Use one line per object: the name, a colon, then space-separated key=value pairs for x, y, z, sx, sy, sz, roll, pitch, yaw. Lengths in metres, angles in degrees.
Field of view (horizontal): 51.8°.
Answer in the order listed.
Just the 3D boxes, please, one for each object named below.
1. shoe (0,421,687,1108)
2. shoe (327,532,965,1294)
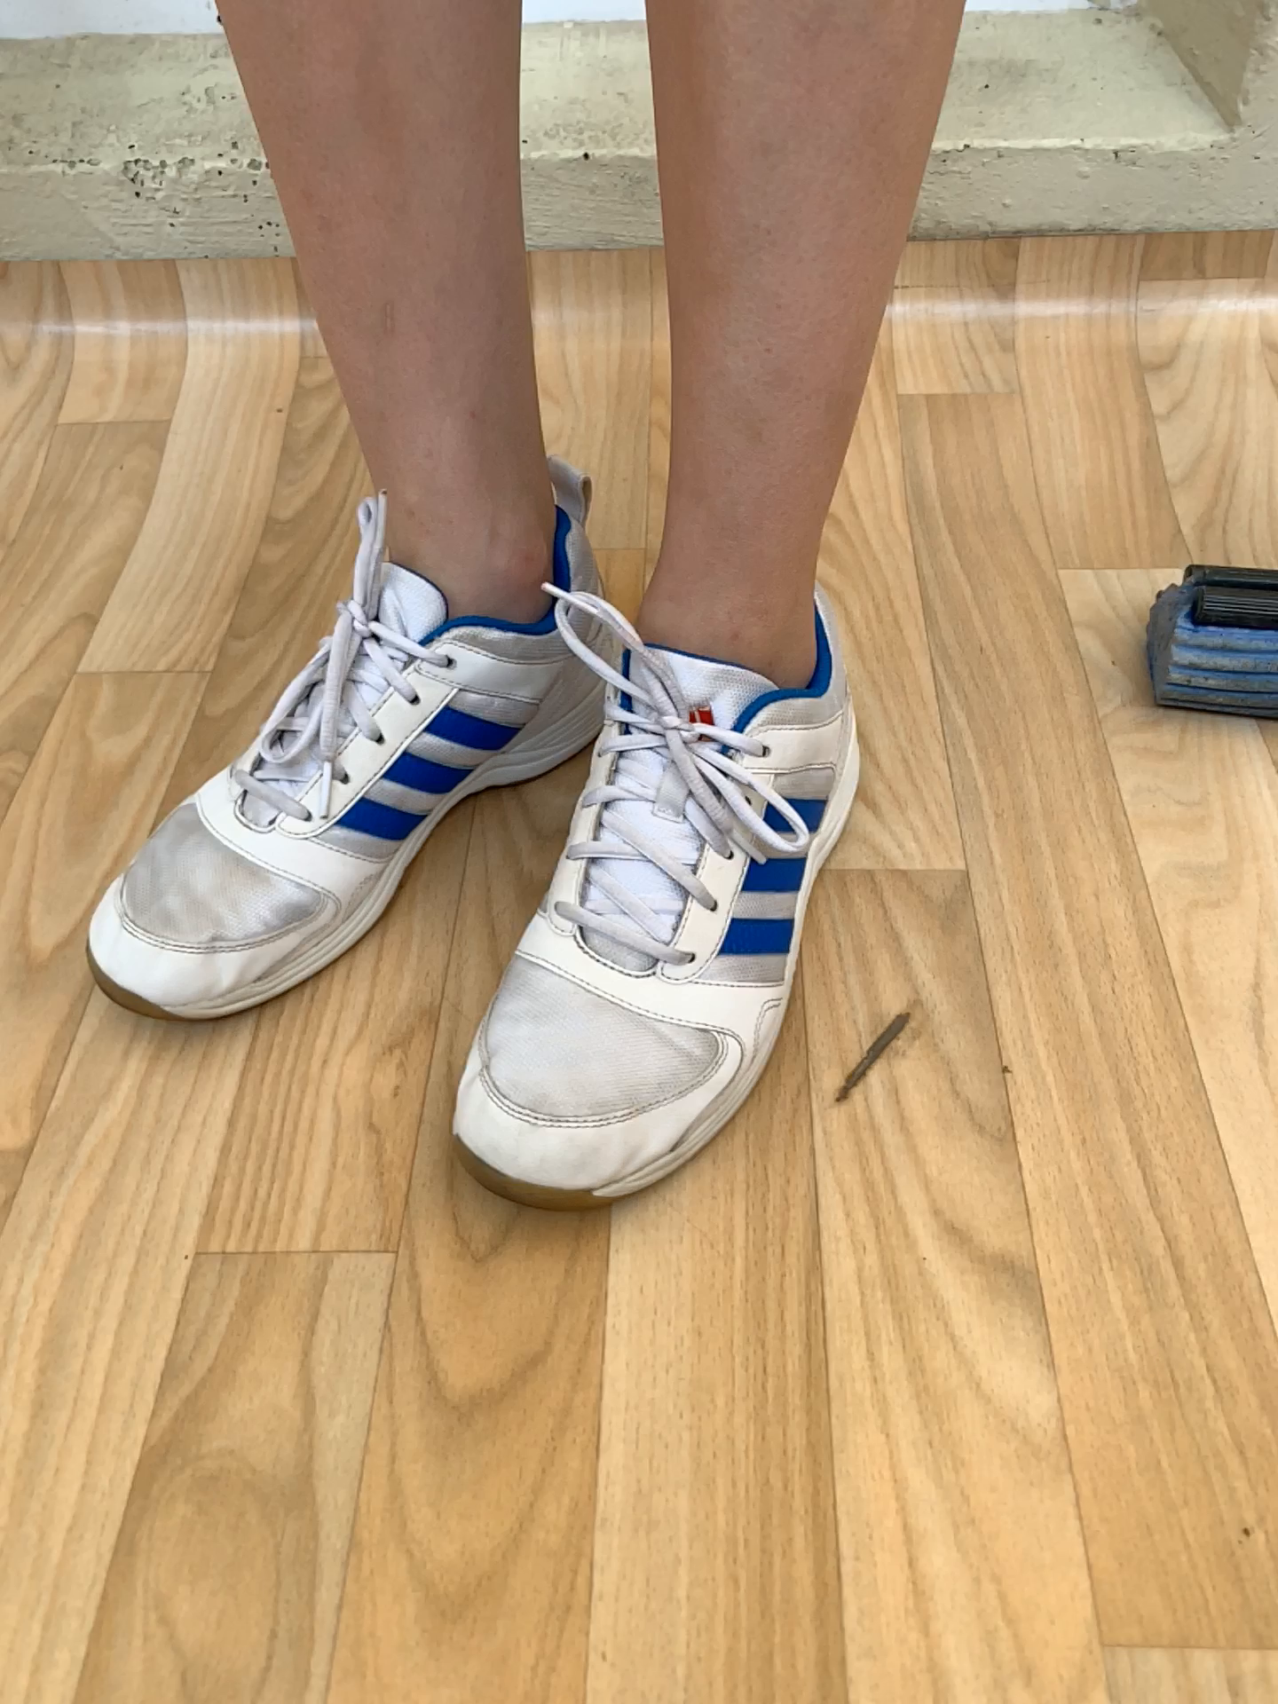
shoe: x=-0.107 y=-0.045 z=0.507 sx=0.100 sy=0.120 sz=0.260 roll=35 pitch=57 yaw=29
shoe: x=0.018 y=0.004 z=0.466 sx=0.100 sy=0.090 sz=0.261 roll=20 pitch=51 yaw=20
